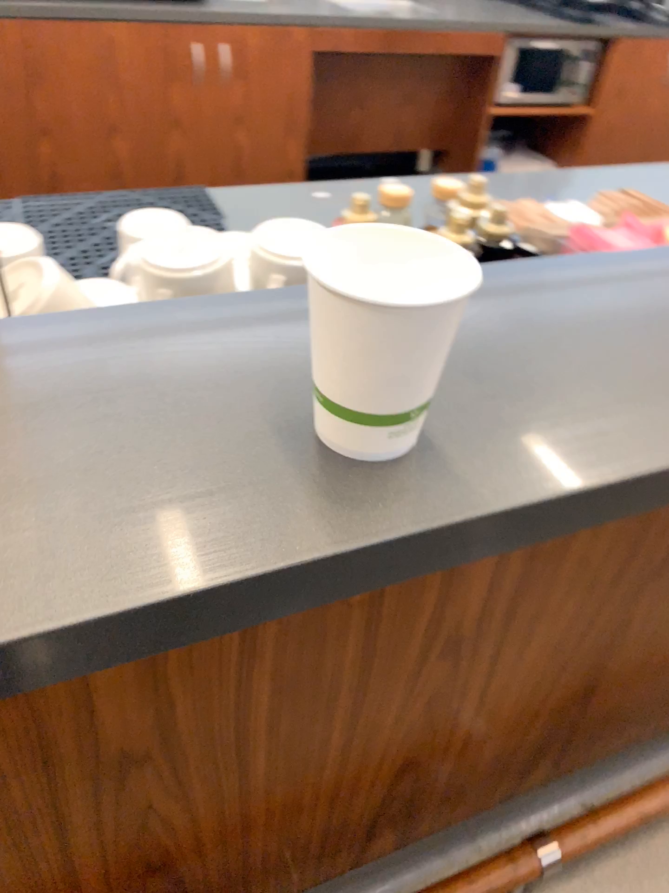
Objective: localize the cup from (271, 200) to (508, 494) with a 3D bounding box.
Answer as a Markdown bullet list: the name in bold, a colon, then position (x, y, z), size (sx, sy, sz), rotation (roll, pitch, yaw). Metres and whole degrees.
- **cup**: position (0.023, -0.055, 0.377), size (0.080, 0.119, 0.080), rotation (4, 40, -3)
